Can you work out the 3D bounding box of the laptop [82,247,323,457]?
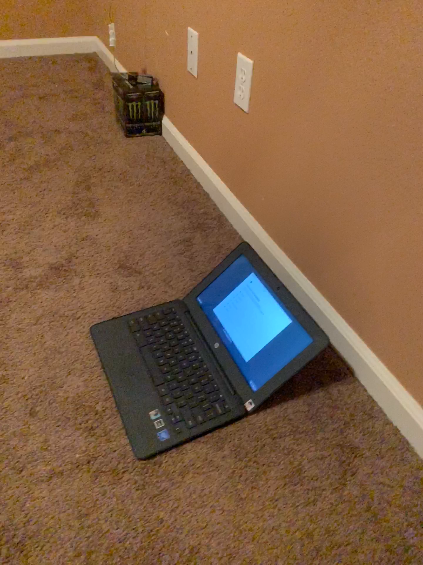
[{"bbox_3d":[-0.029,0.101,0.800,0.332,0.124,0.289,-15,46,-21],"label":"laptop"}]
